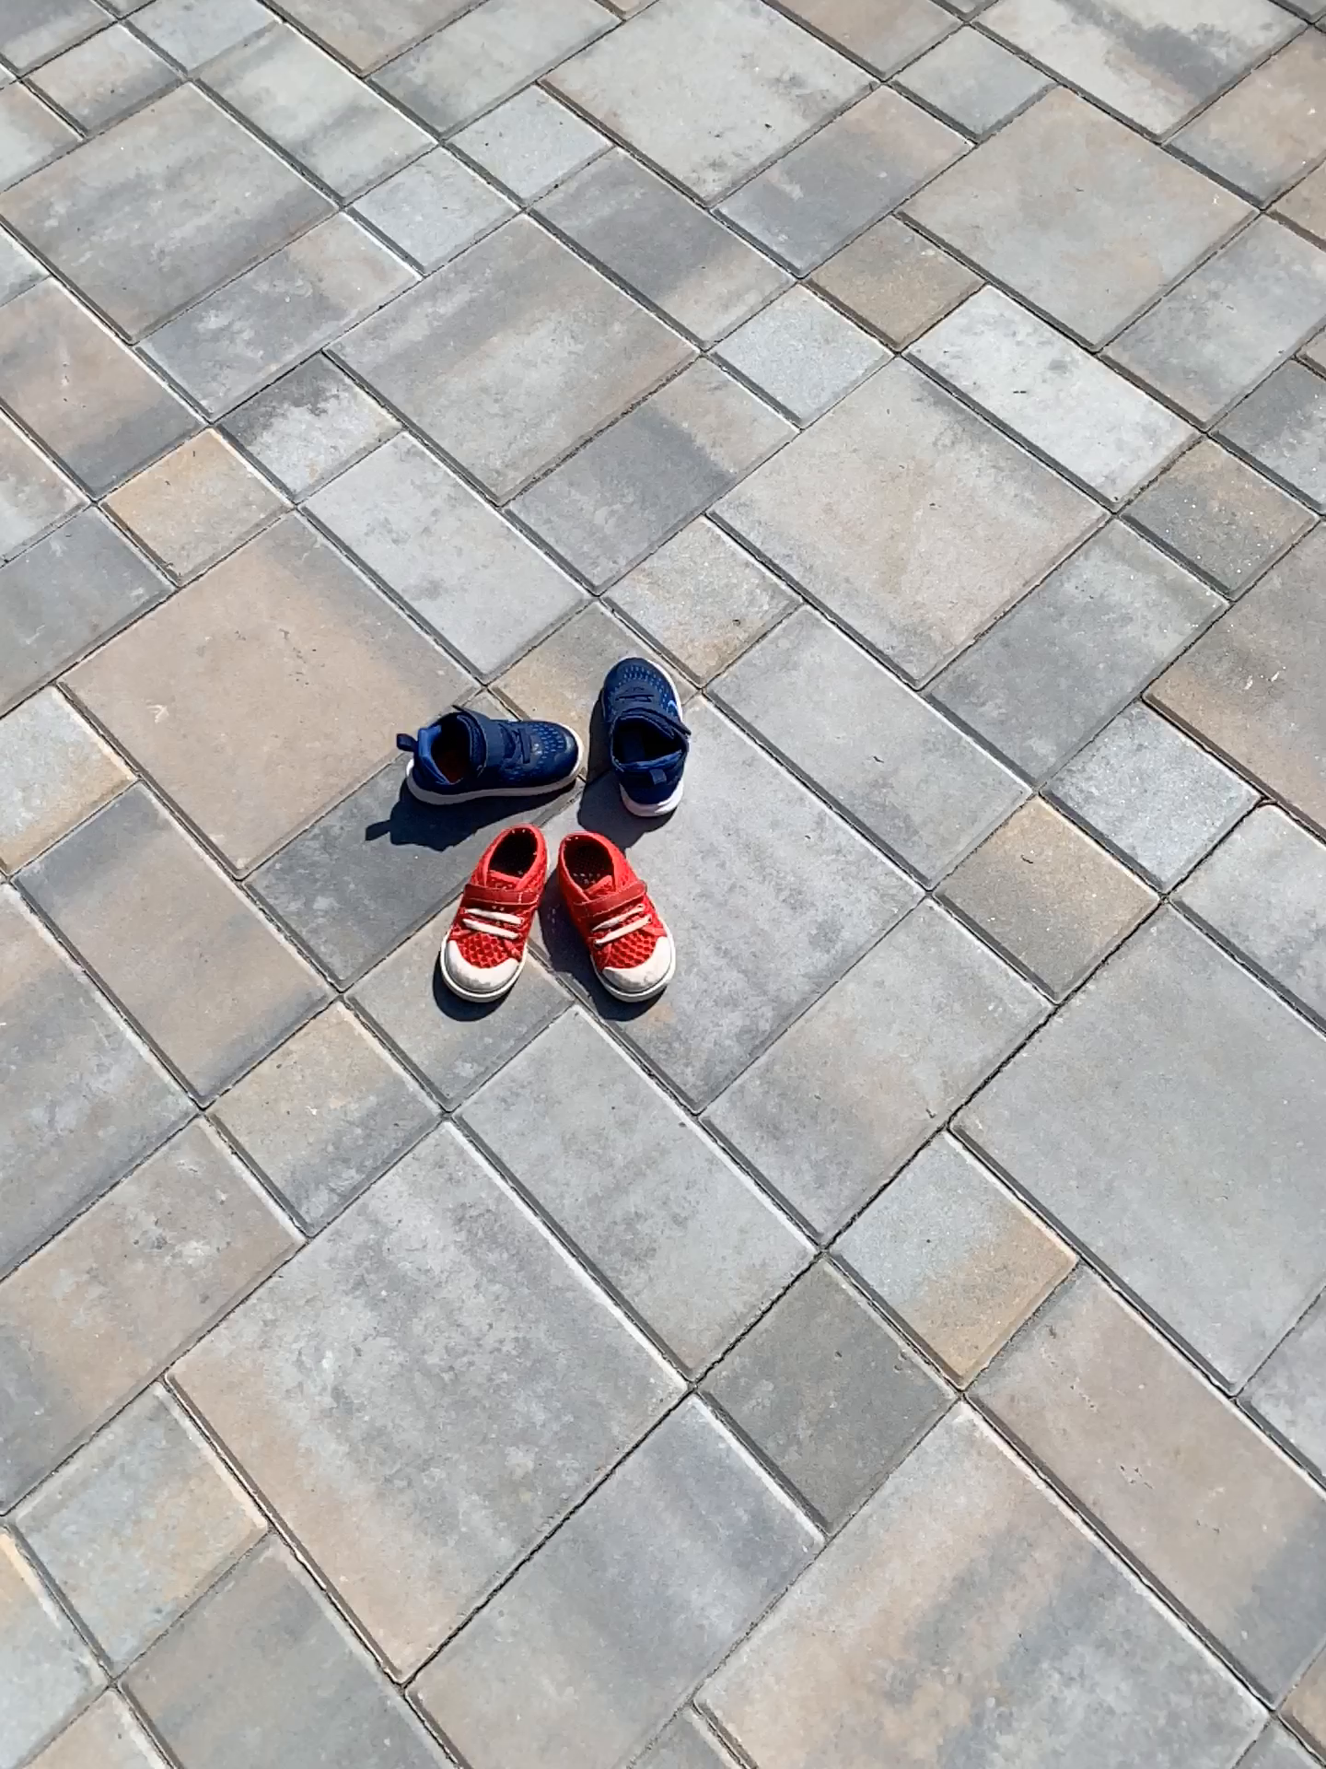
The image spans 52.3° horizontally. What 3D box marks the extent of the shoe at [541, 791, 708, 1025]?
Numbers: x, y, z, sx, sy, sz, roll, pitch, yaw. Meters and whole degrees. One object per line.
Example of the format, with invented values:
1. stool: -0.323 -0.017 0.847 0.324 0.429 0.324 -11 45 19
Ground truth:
1. shoe: -0.034 0.020 1.161 0.080 0.070 0.170 -22 69 -8

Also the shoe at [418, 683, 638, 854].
1. shoe: -0.122 -0.106 1.247 0.180 0.090 0.090 -12 68 -5

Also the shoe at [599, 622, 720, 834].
1. shoe: -0.004 -0.143 1.237 0.080 0.070 0.170 -9 67 -3

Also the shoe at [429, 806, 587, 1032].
1. shoe: -0.132 0.030 1.186 0.080 0.070 0.170 15 68 7
